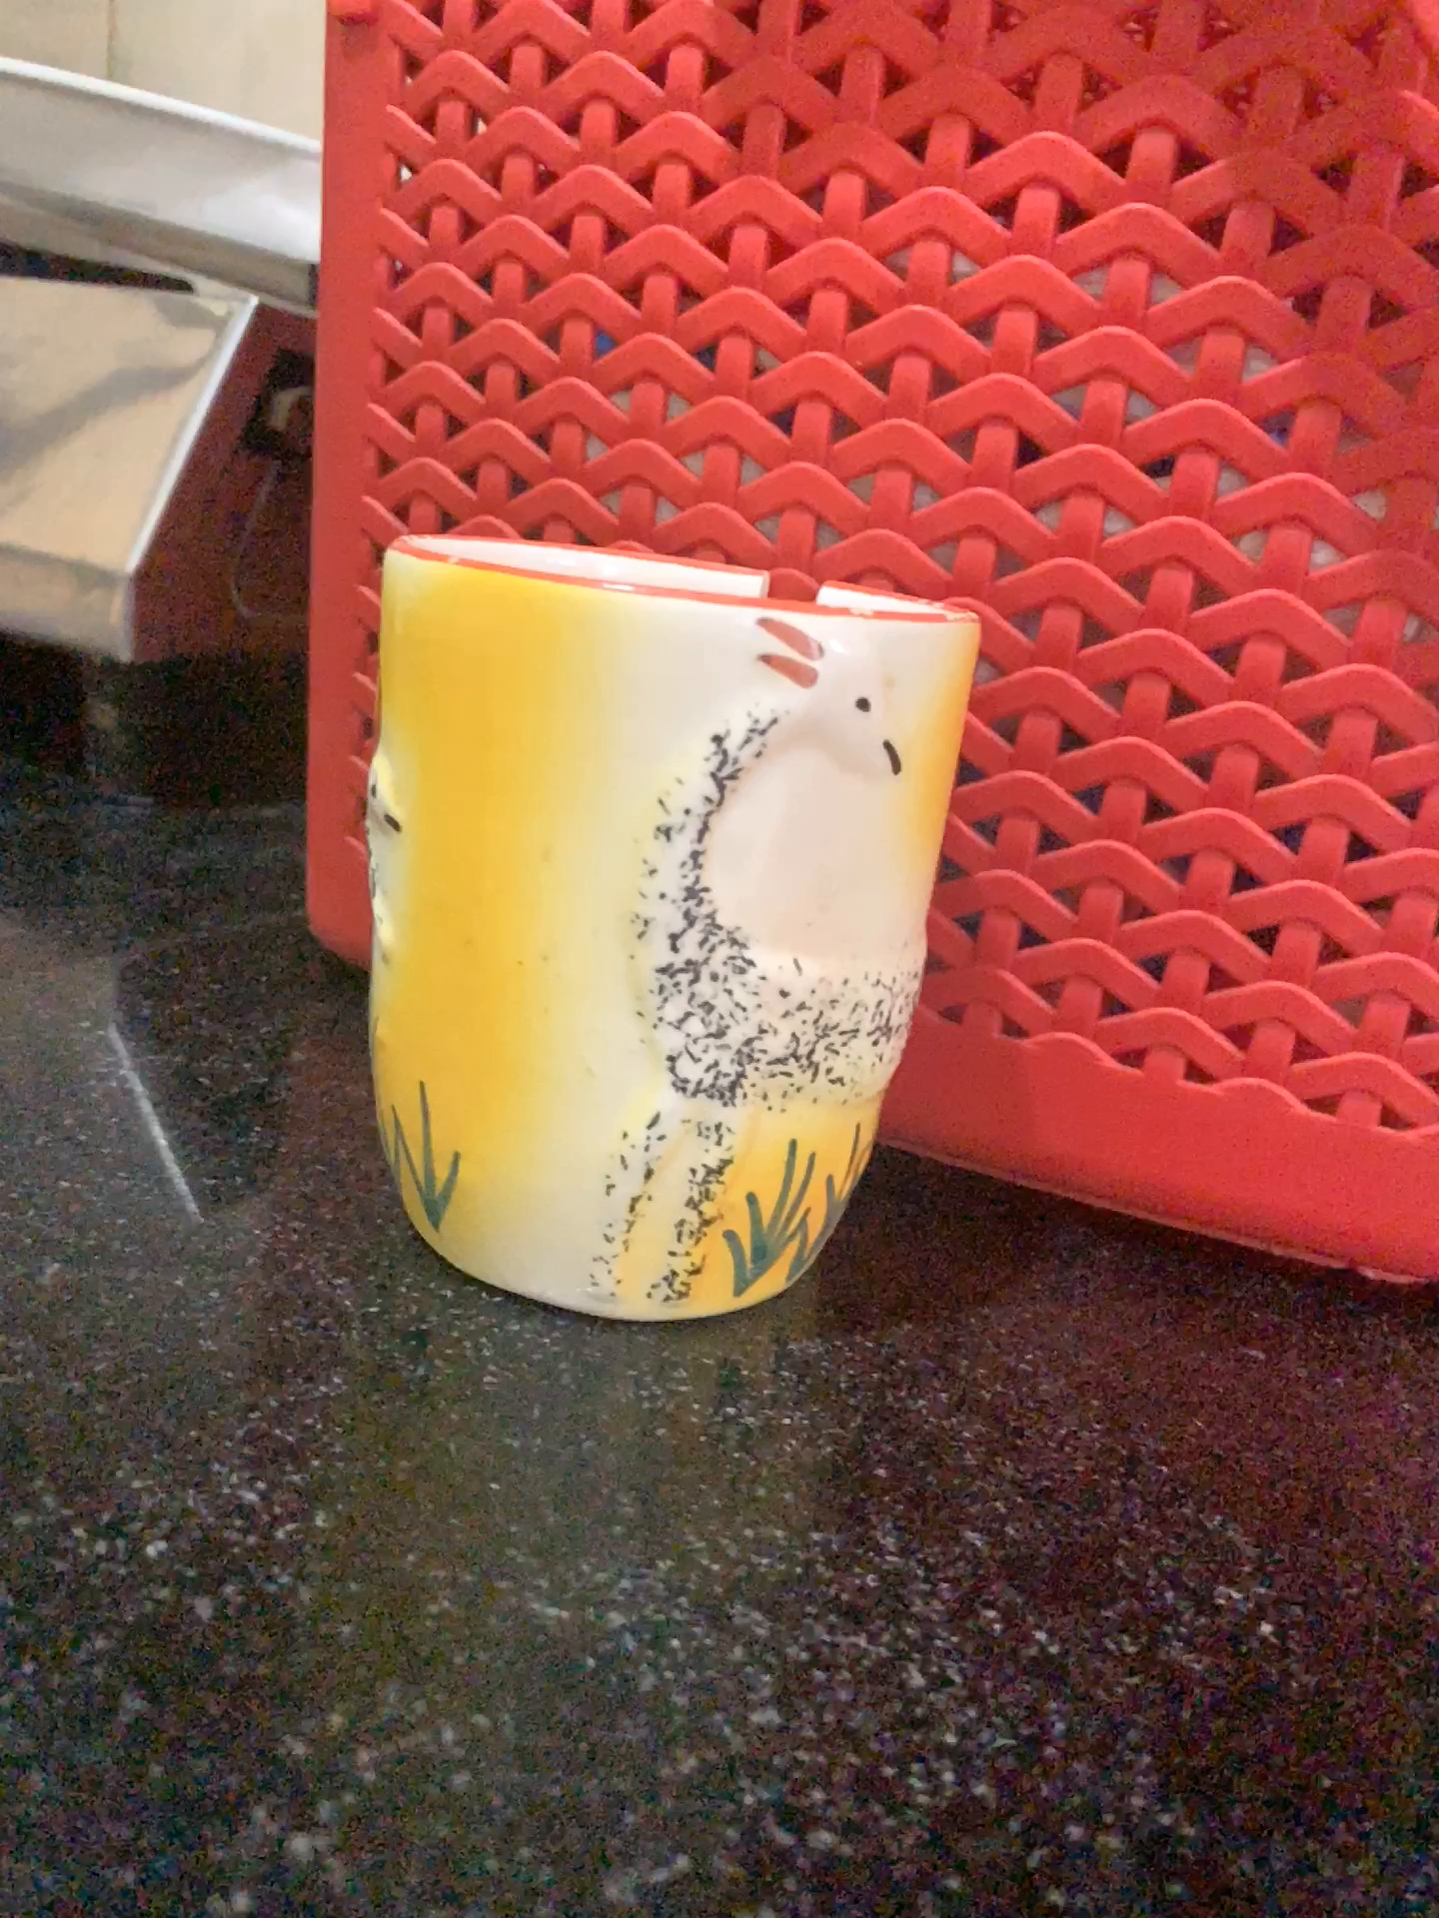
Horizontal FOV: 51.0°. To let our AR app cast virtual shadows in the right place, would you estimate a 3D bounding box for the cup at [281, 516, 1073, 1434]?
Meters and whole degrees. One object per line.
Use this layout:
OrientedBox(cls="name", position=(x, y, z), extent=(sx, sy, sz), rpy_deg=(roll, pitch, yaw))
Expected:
OrientedBox(cls="cup", position=(-0.003, -0.006, 0.223), extent=(0.080, 0.099, 0.080), rpy_deg=(8, 16, -2))
